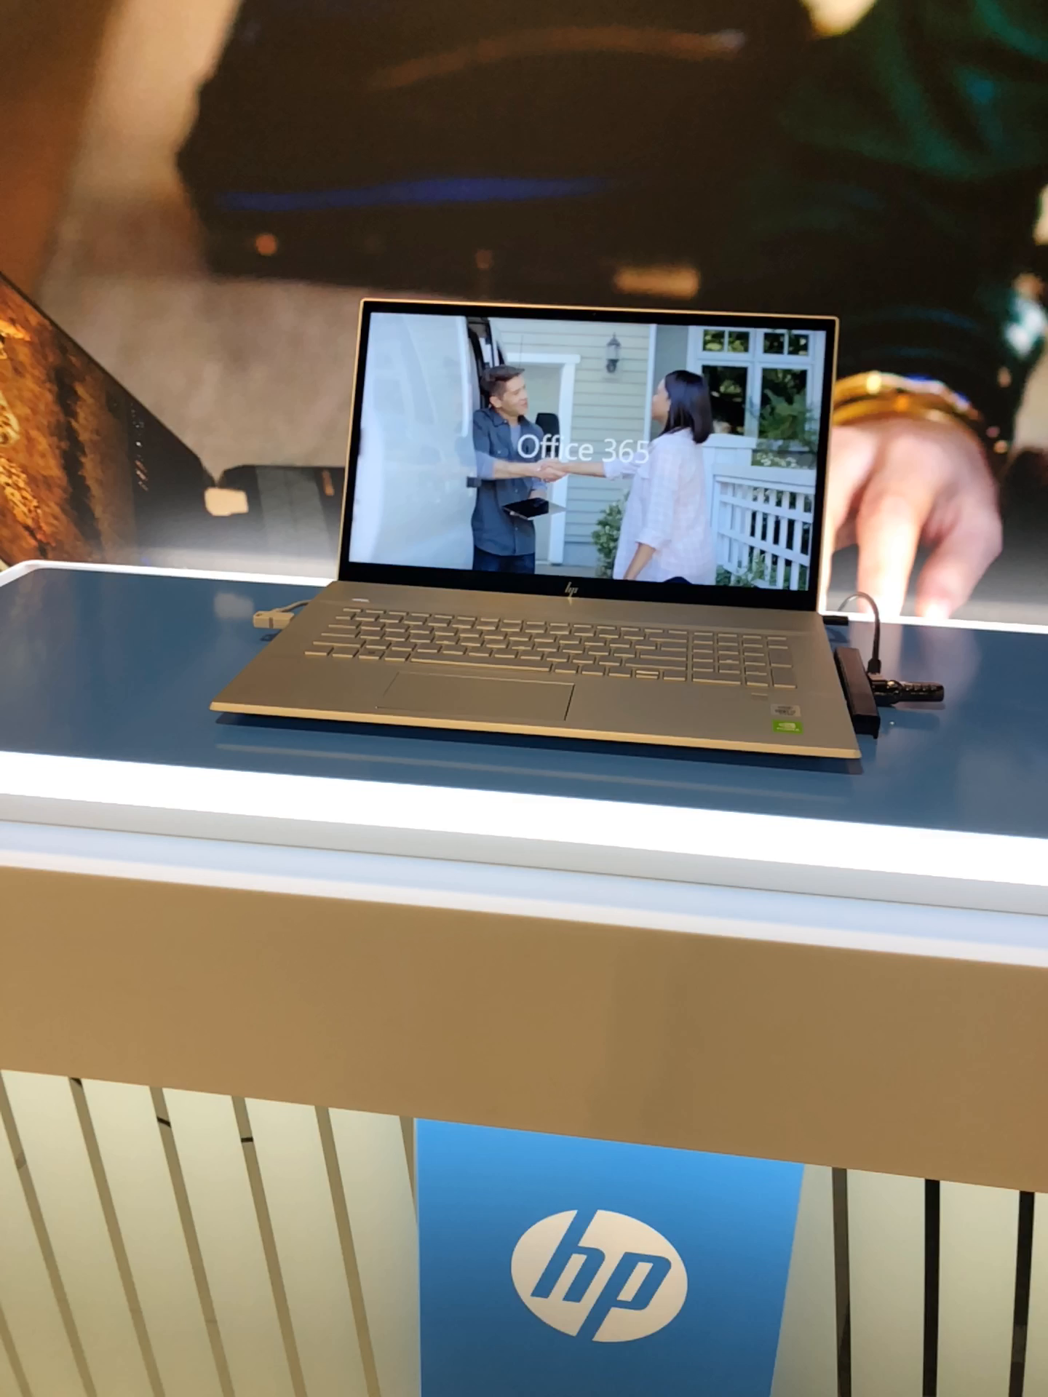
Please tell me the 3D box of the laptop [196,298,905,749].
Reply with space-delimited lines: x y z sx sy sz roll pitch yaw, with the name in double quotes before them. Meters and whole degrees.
"laptop" 0.031 -0.162 0.854 0.400 0.217 0.385 4 23 8
